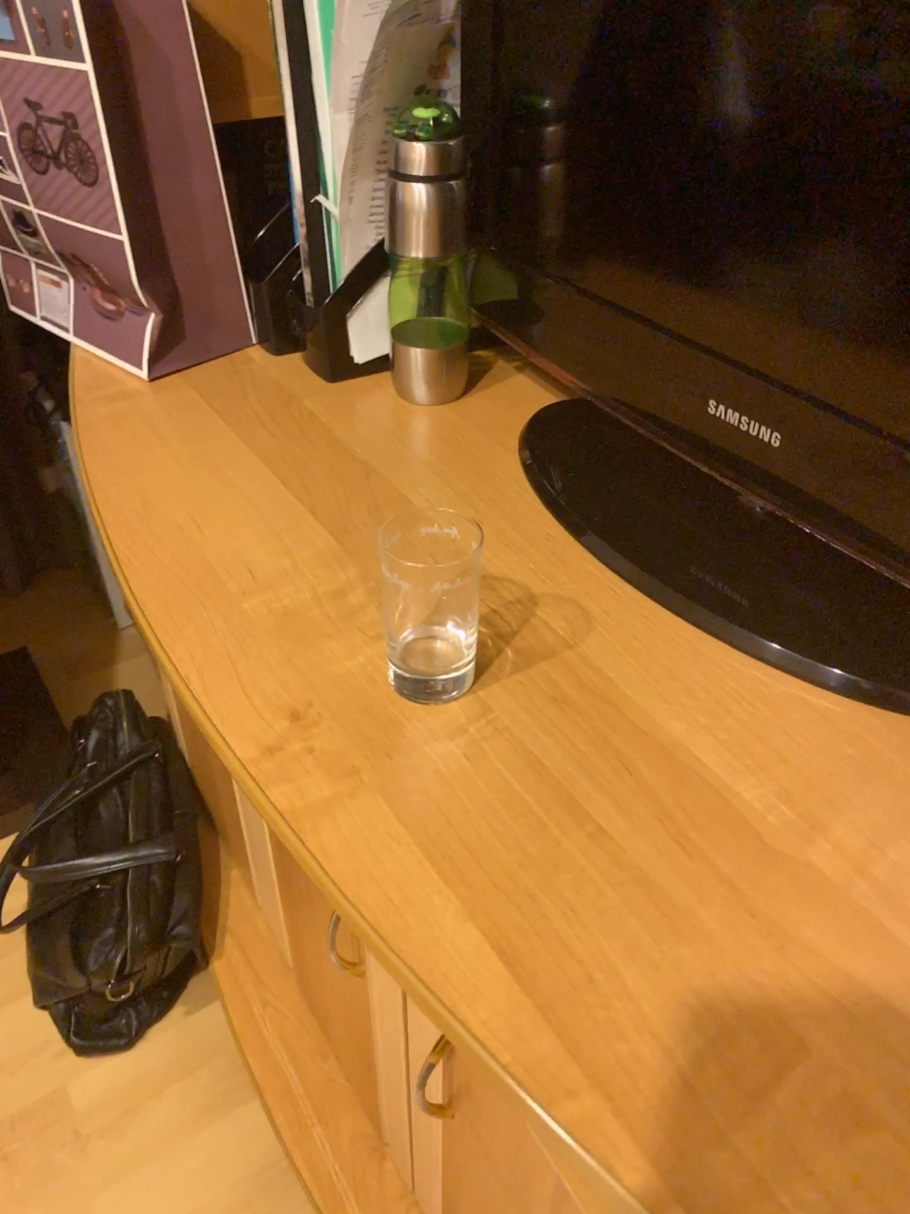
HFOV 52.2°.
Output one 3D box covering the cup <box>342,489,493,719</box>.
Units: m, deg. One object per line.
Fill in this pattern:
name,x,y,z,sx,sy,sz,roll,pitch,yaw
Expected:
cup,-0.018,-0.001,0.510,0.060,0.099,0.060,0,37,0
